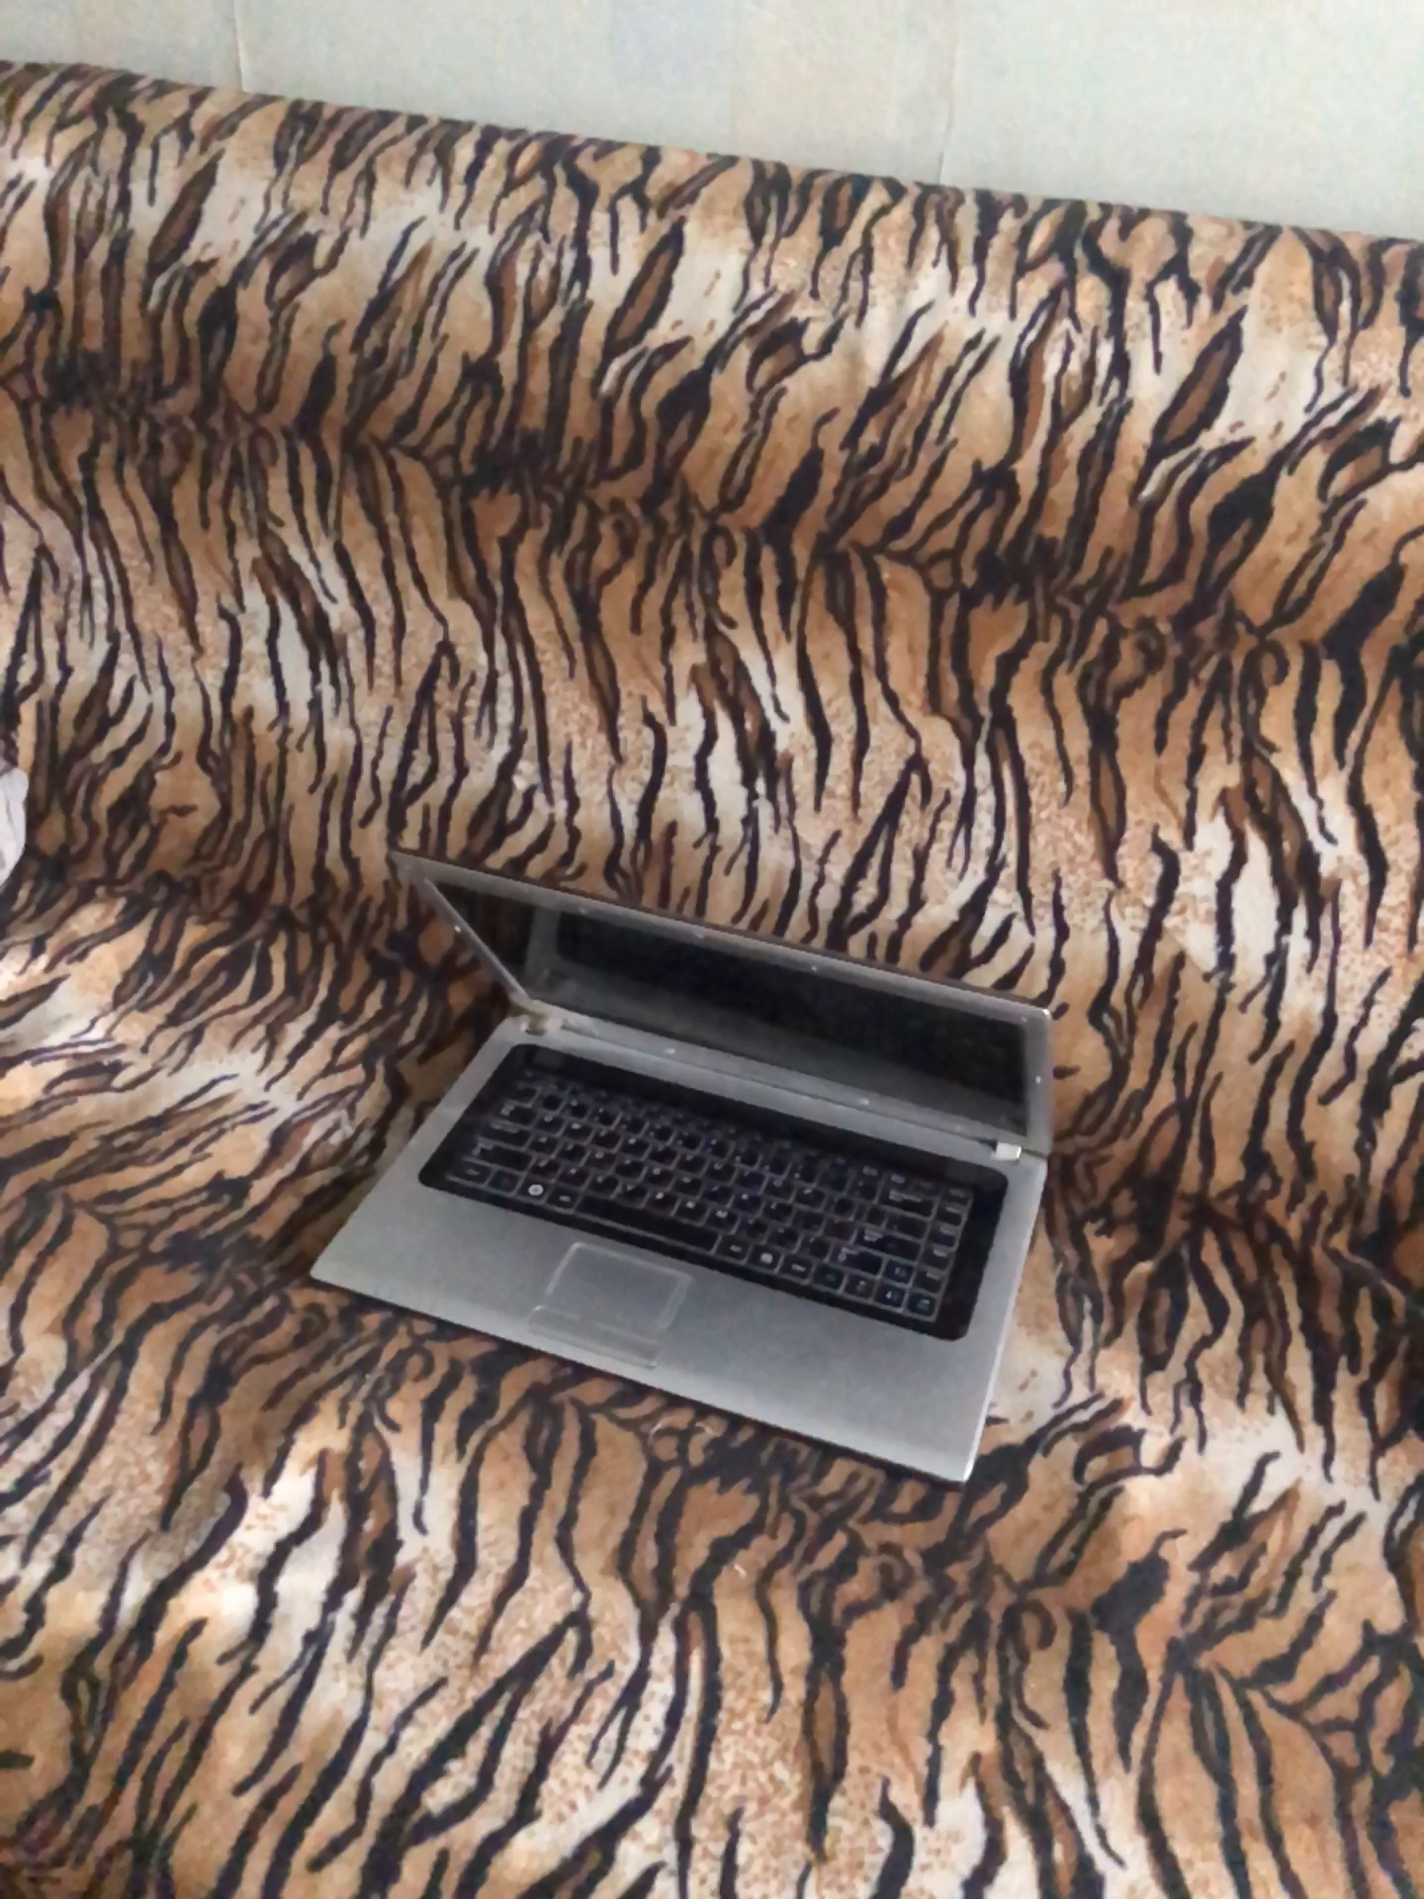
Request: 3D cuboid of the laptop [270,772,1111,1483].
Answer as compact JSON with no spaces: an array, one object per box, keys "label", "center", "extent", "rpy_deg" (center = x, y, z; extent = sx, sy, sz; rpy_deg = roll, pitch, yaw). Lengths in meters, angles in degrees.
[{"label":"laptop","center":[-0.004,0.073,0.814],"extent":[0.350,0.179,0.239],"rpy_deg":[14,37,15]}]
